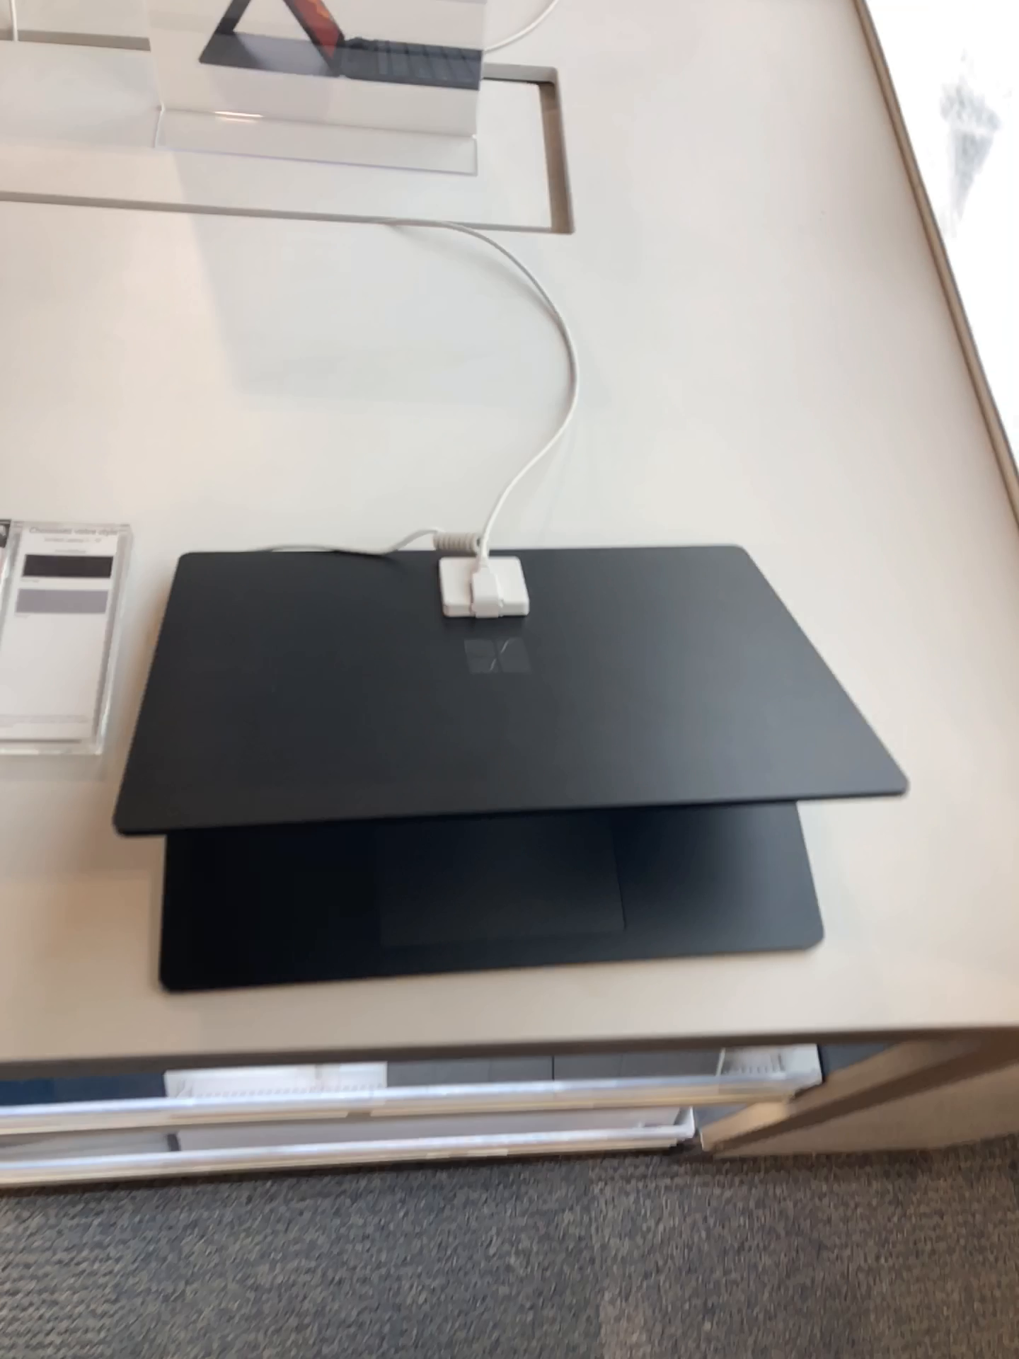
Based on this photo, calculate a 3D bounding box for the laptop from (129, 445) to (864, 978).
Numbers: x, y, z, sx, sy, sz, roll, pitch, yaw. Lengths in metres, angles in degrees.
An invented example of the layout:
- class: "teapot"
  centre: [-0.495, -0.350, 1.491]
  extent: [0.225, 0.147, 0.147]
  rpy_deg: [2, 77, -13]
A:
- class: "laptop"
  centre: [-0.008, 0.010, 0.494]
  extent: [0.284, 0.086, 0.191]
  rpy_deg: [-2, 70, -10]
